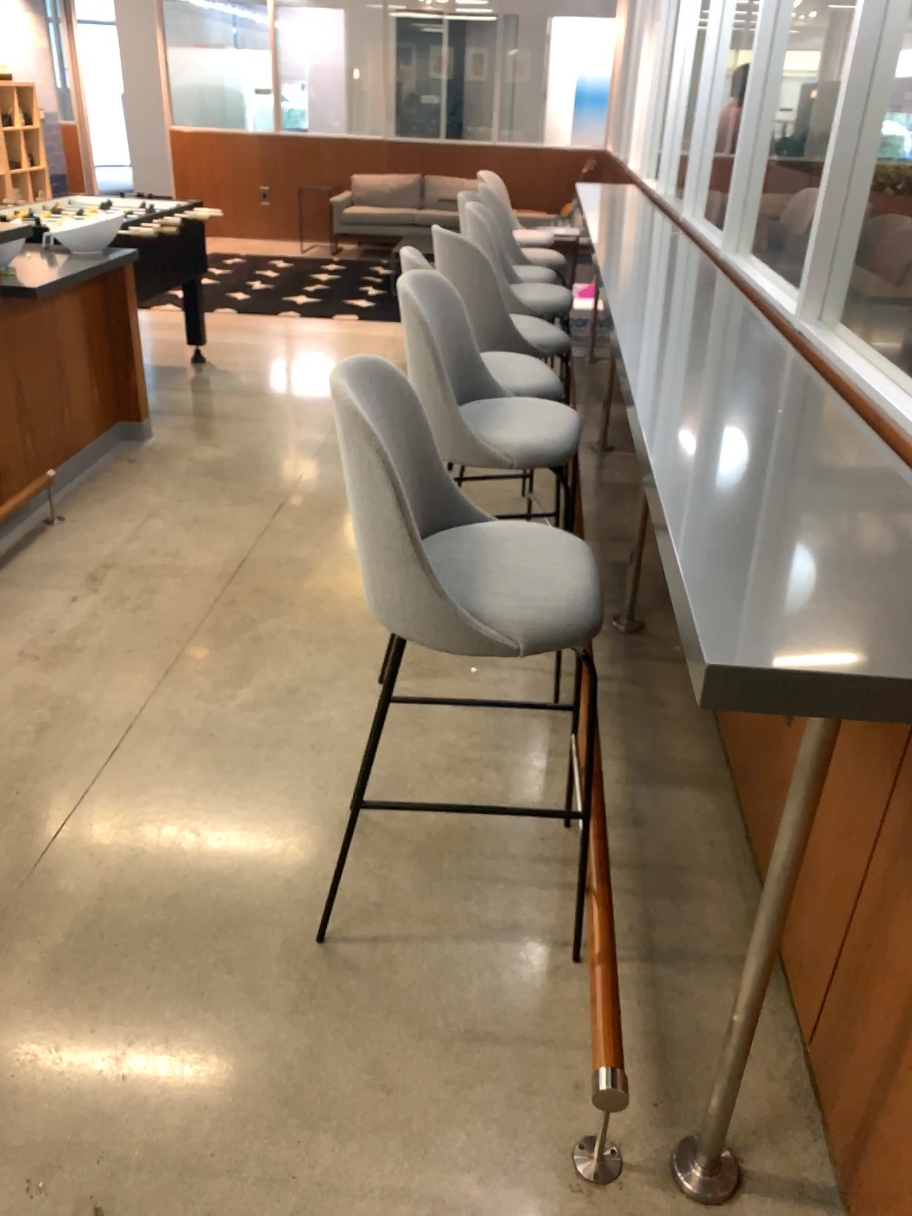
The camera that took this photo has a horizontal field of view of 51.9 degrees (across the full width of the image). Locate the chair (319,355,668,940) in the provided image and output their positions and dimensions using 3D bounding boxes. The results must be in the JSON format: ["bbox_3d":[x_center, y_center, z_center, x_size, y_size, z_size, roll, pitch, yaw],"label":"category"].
[{"bbox_3d":[0.027,0.097,1.789,0.510,1.034,0.412,1,28,-3],"label":"chair"}]
